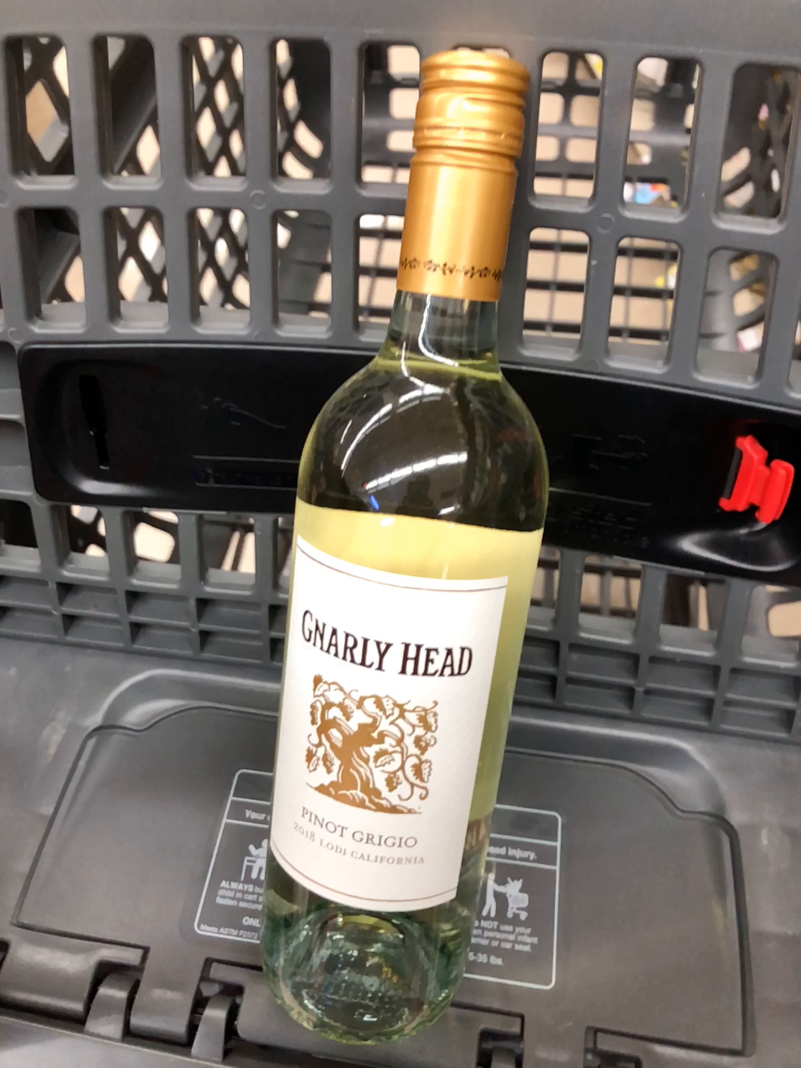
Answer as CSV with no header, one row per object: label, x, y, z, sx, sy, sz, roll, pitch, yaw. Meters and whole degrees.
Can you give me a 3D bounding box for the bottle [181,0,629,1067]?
bottle,-0.002,0.011,0.263,0.080,0.070,0.280,10,104,10
